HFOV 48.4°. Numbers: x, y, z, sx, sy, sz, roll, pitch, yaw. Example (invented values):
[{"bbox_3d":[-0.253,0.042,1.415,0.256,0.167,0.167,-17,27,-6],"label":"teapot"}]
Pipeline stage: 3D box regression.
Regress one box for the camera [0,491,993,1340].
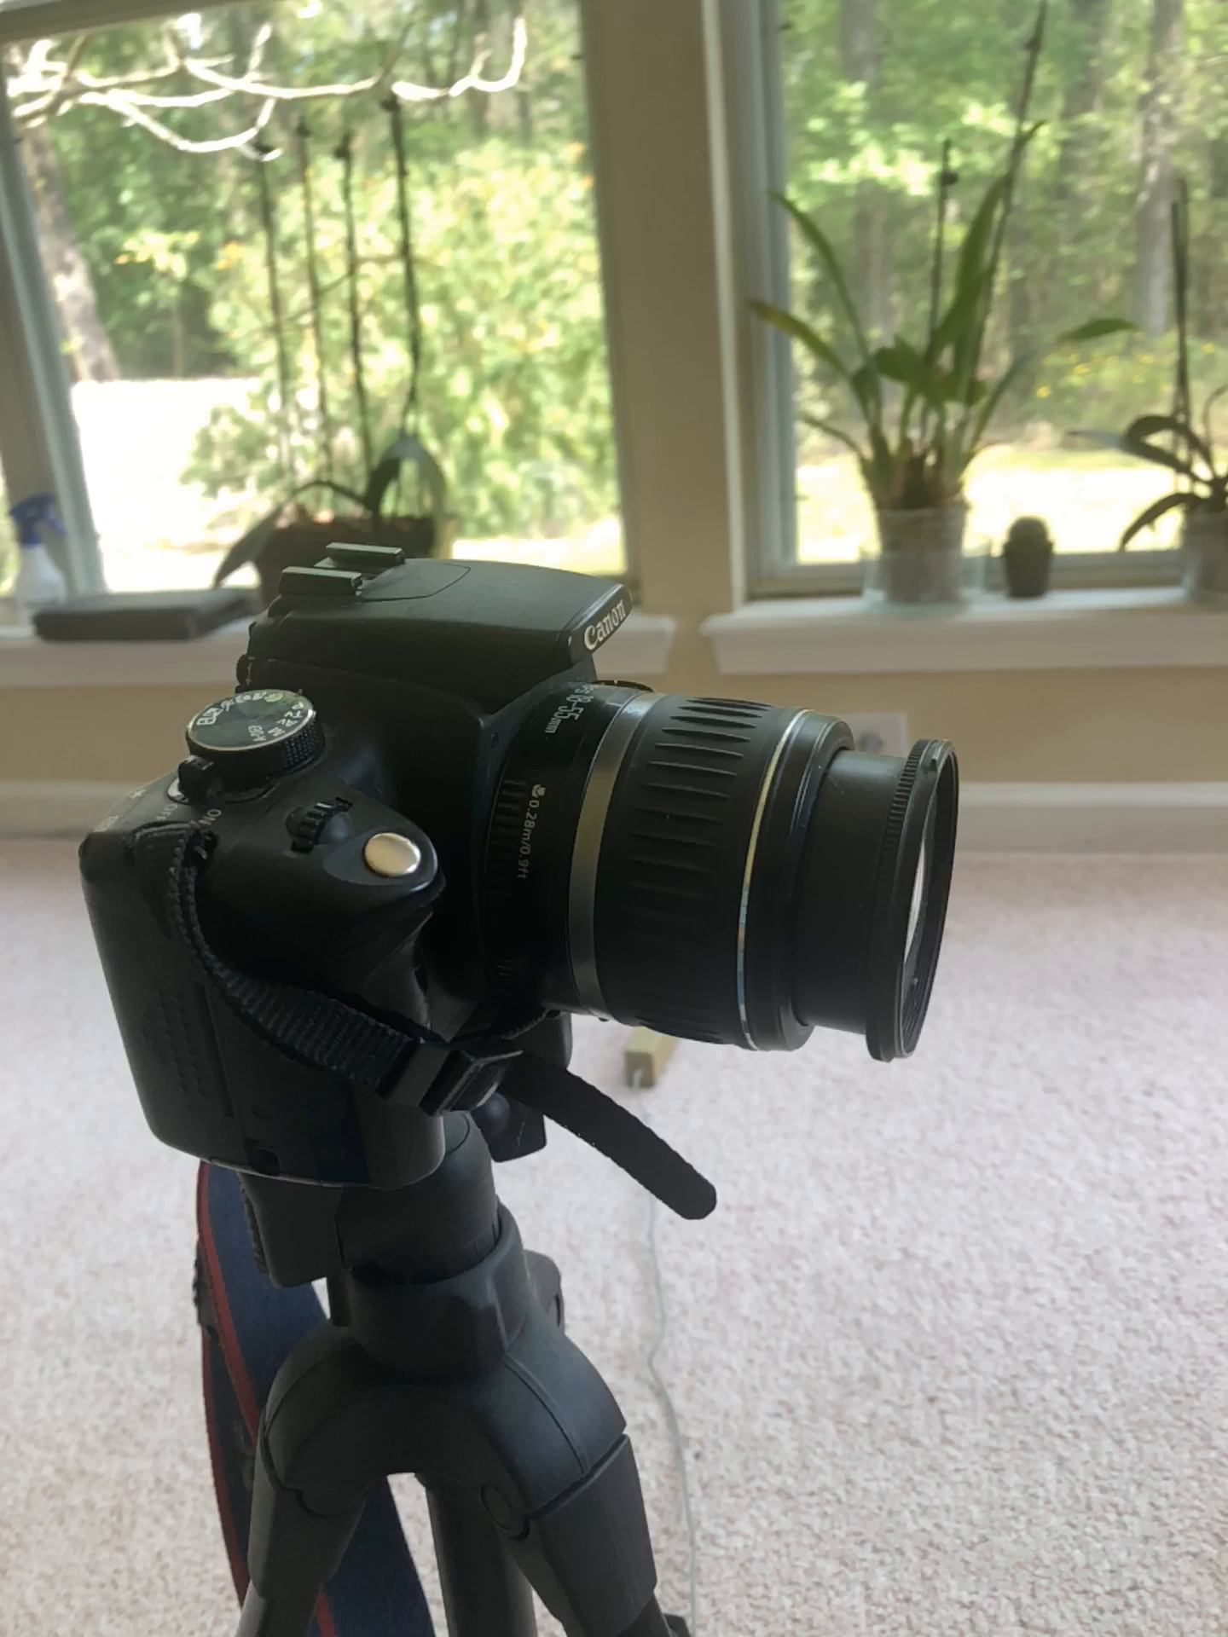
[{"bbox_3d":[-0.008,0.003,0.271,0.142,0.093,0.131,8,30,17],"label":"camera"}]
